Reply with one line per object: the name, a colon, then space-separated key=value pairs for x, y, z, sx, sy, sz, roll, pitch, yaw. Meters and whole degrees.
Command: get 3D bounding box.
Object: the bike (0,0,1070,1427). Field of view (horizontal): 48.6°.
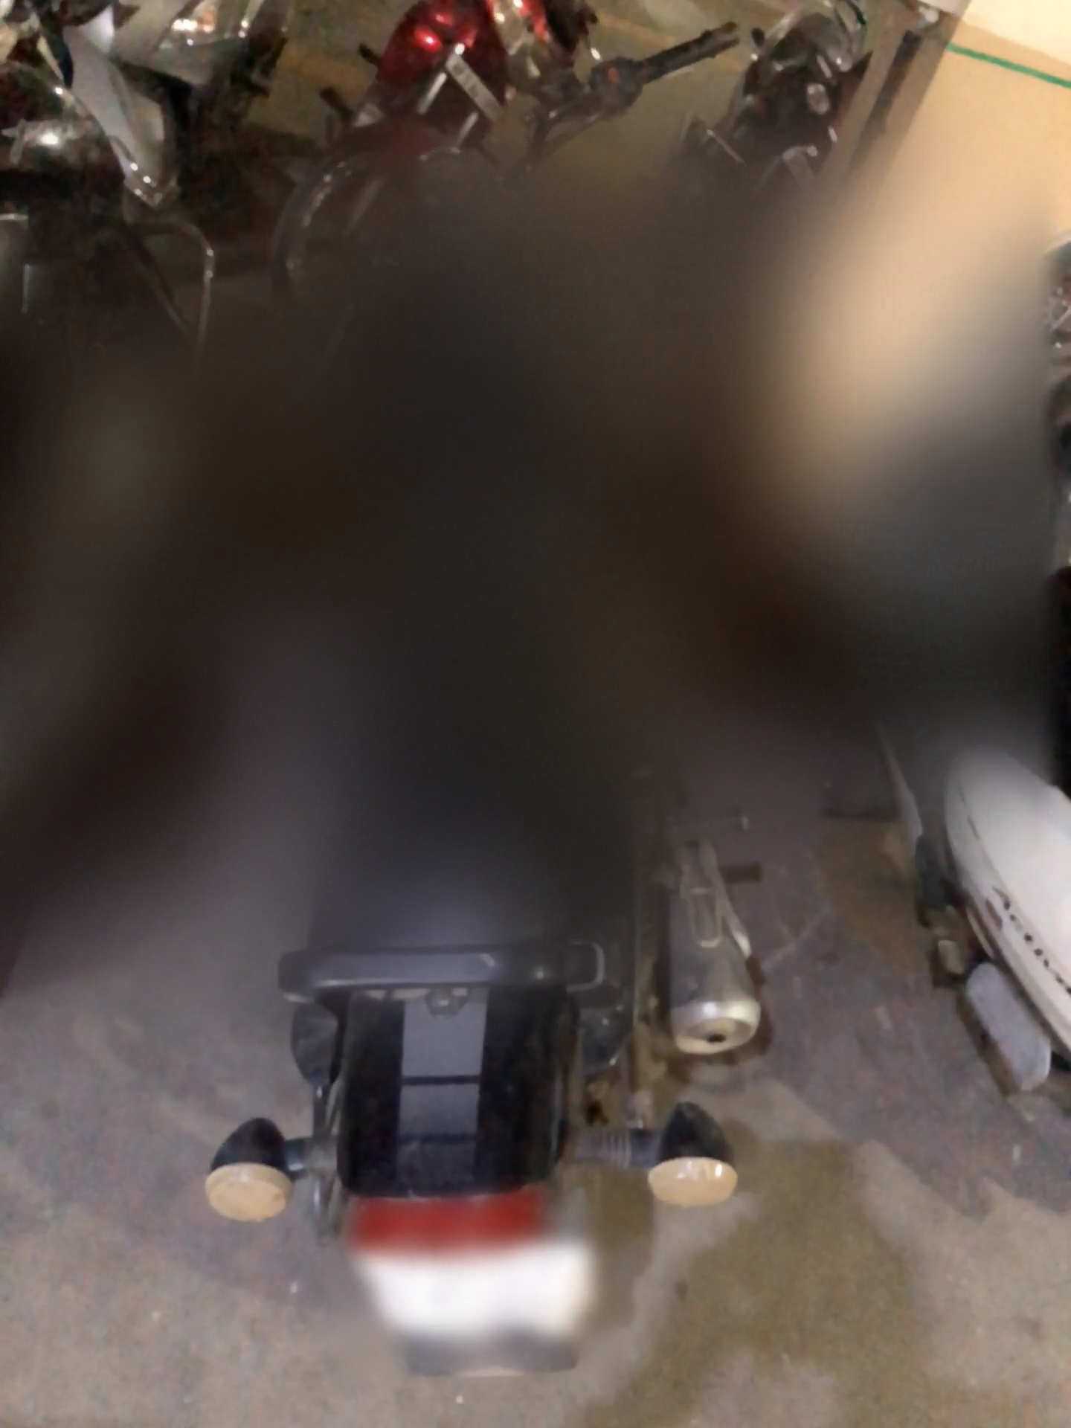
bike: x=-0.173 y=-0.243 z=1.532 sx=0.863 sy=1.252 sz=1.676 roll=9 pitch=43 yaw=-14
